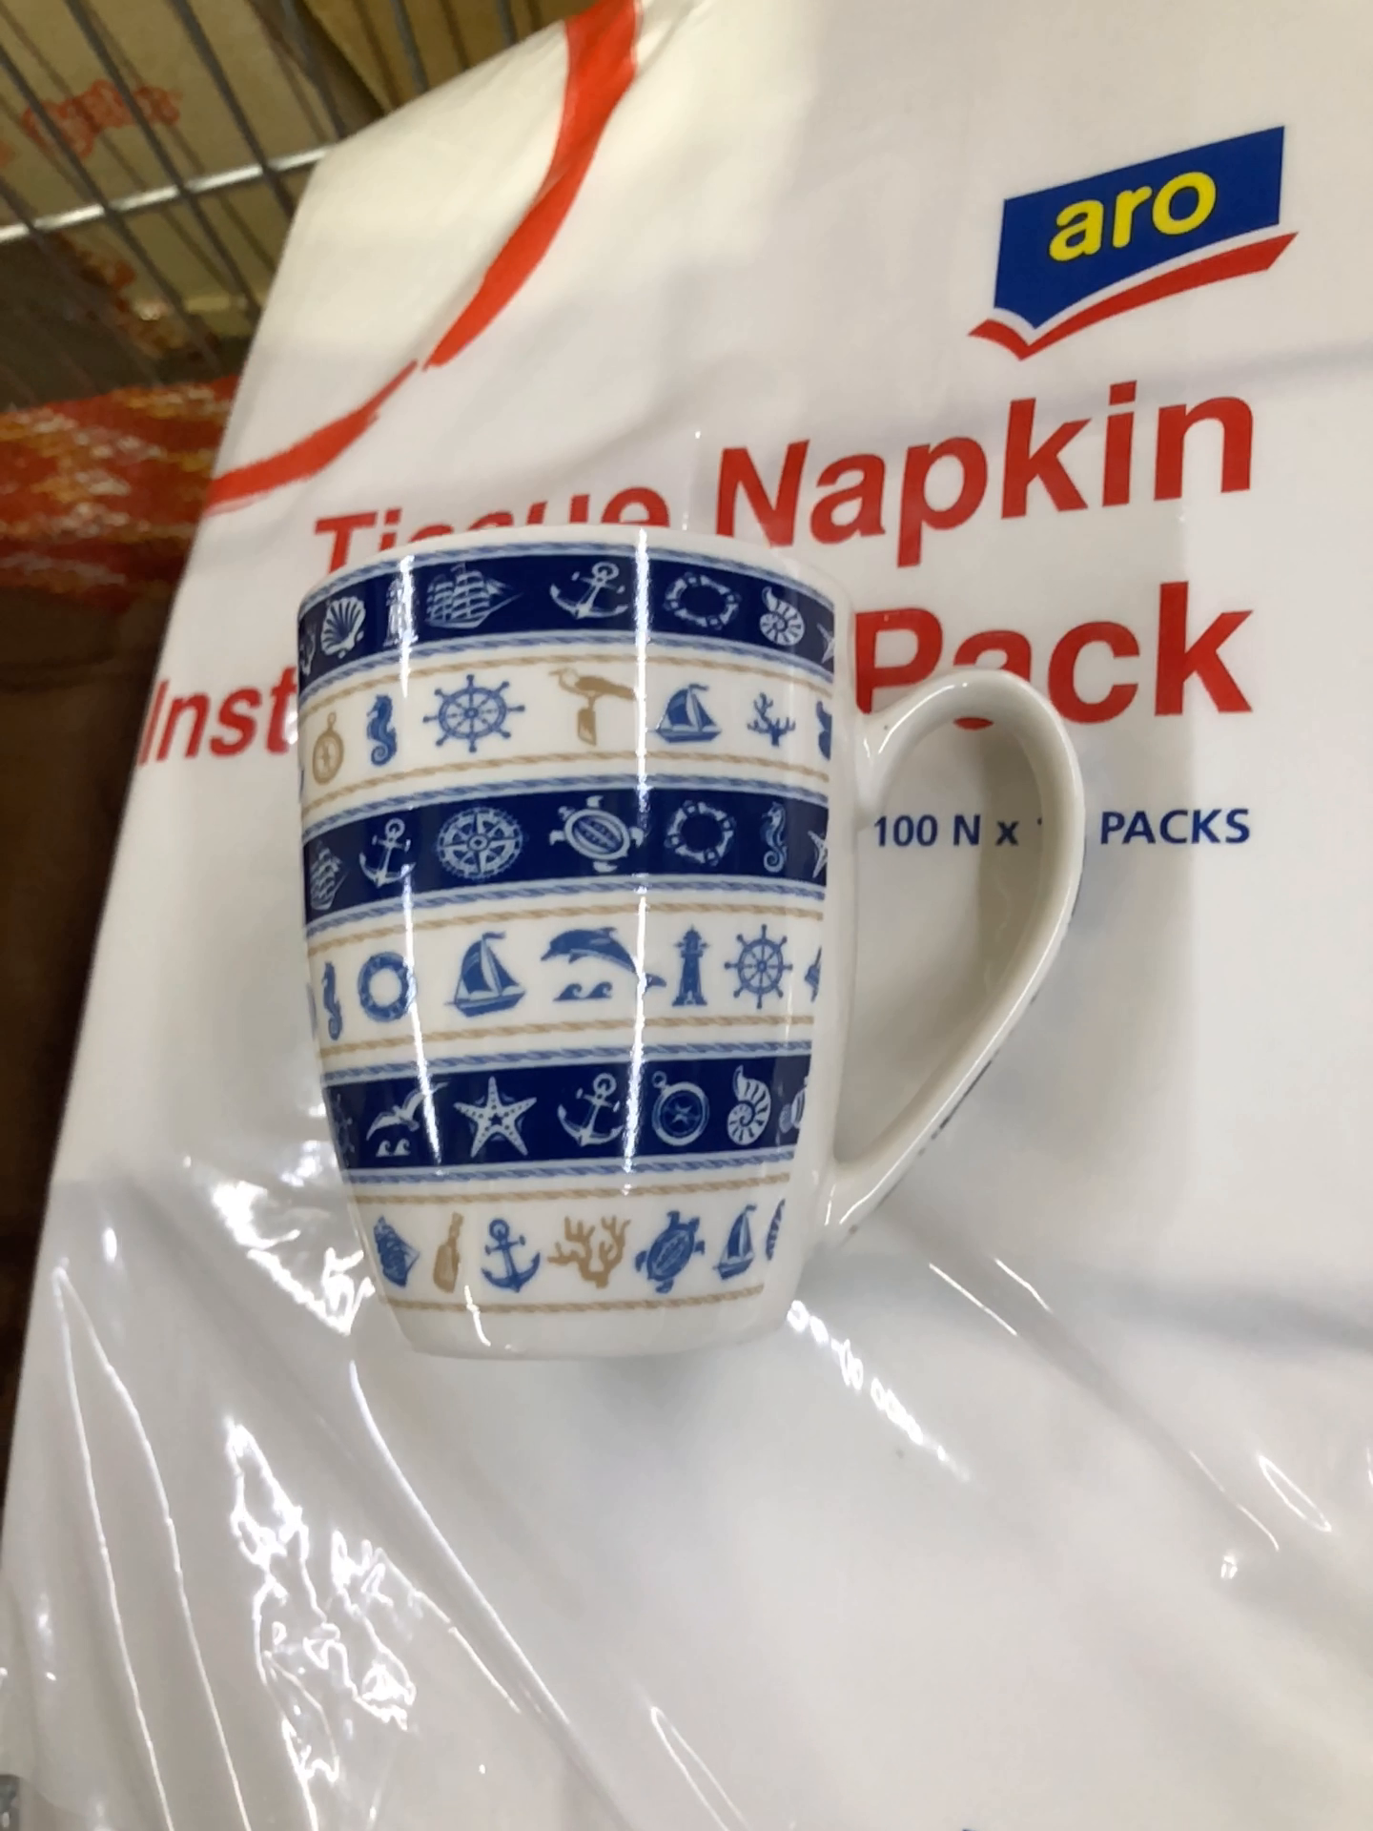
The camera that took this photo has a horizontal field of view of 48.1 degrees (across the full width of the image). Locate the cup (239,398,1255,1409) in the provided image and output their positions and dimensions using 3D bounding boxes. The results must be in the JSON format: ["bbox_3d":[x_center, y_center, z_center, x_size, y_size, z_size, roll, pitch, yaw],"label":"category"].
[{"bbox_3d":[0.001,0.002,0.219,0.120,0.080,0.110,2,82,-14],"label":"cup"}]
